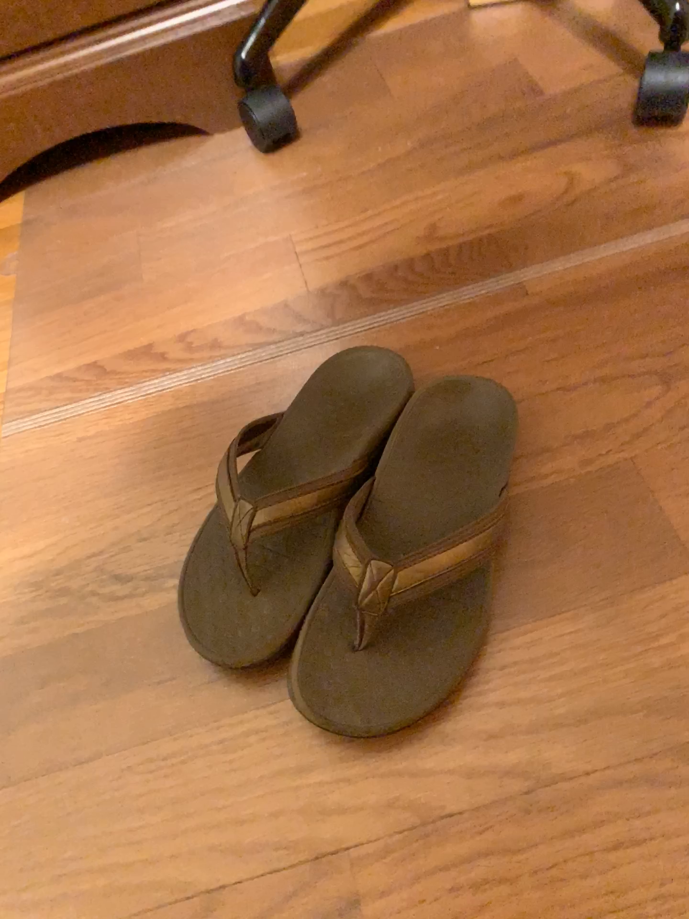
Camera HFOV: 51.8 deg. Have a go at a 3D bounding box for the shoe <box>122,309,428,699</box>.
[{"bbox_3d":[-0.033,0.014,0.465,0.091,0.049,0.252,14,60,22],"label":"shoe"}]

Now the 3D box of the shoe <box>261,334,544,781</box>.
[{"bbox_3d":[0.047,0.041,0.421,0.100,0.061,0.248,8,59,19],"label":"shoe"}]
